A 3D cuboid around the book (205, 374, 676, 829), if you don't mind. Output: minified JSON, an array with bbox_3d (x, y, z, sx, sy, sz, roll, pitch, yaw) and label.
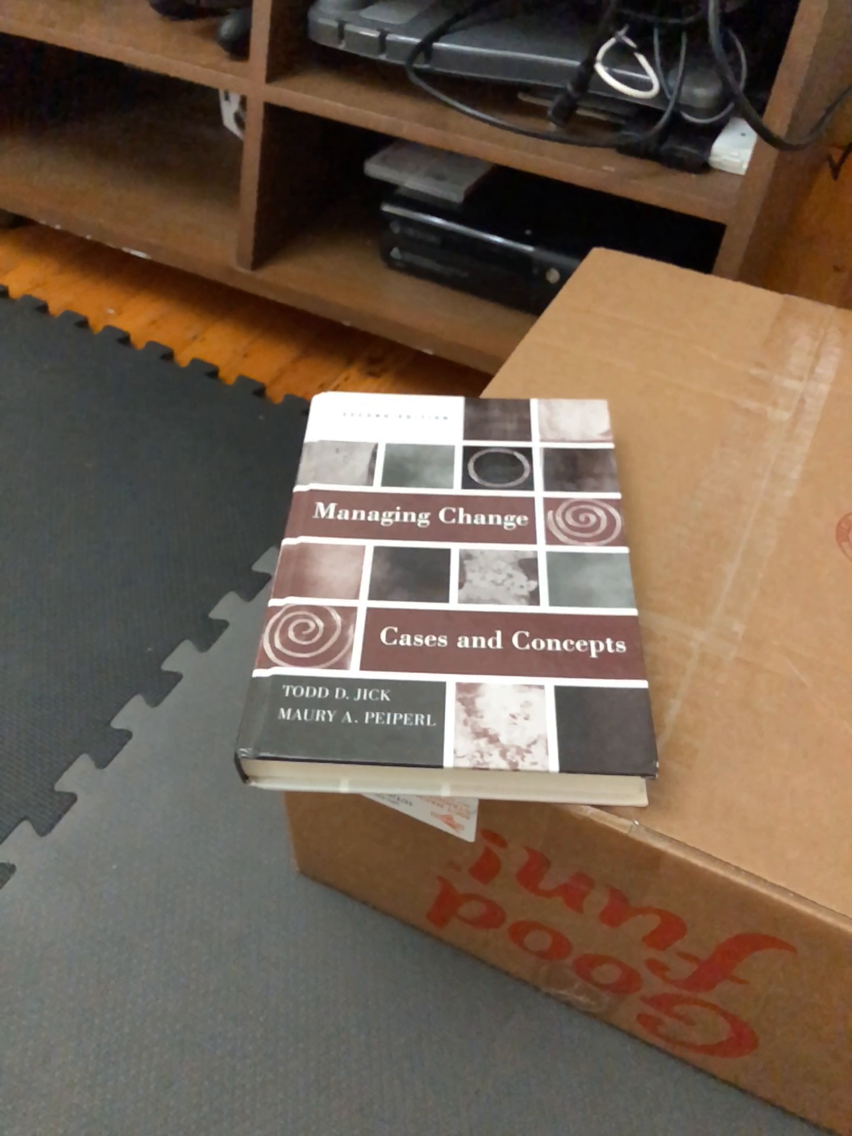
[{"bbox_3d":[0.010,-0.002,0.457,0.180,0.030,0.251,3,48,0],"label":"book"}]
